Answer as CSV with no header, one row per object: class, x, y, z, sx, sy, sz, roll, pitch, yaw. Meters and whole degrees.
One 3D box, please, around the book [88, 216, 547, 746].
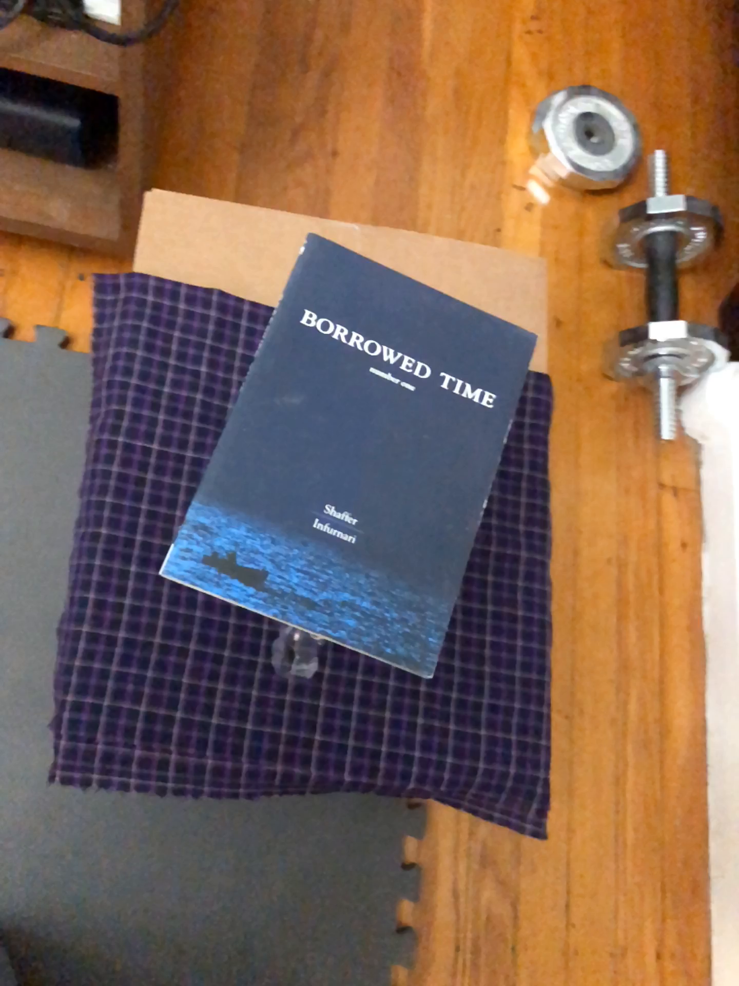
book,-0.013,-0.014,0.411,0.160,0.010,0.230,24,69,-8
